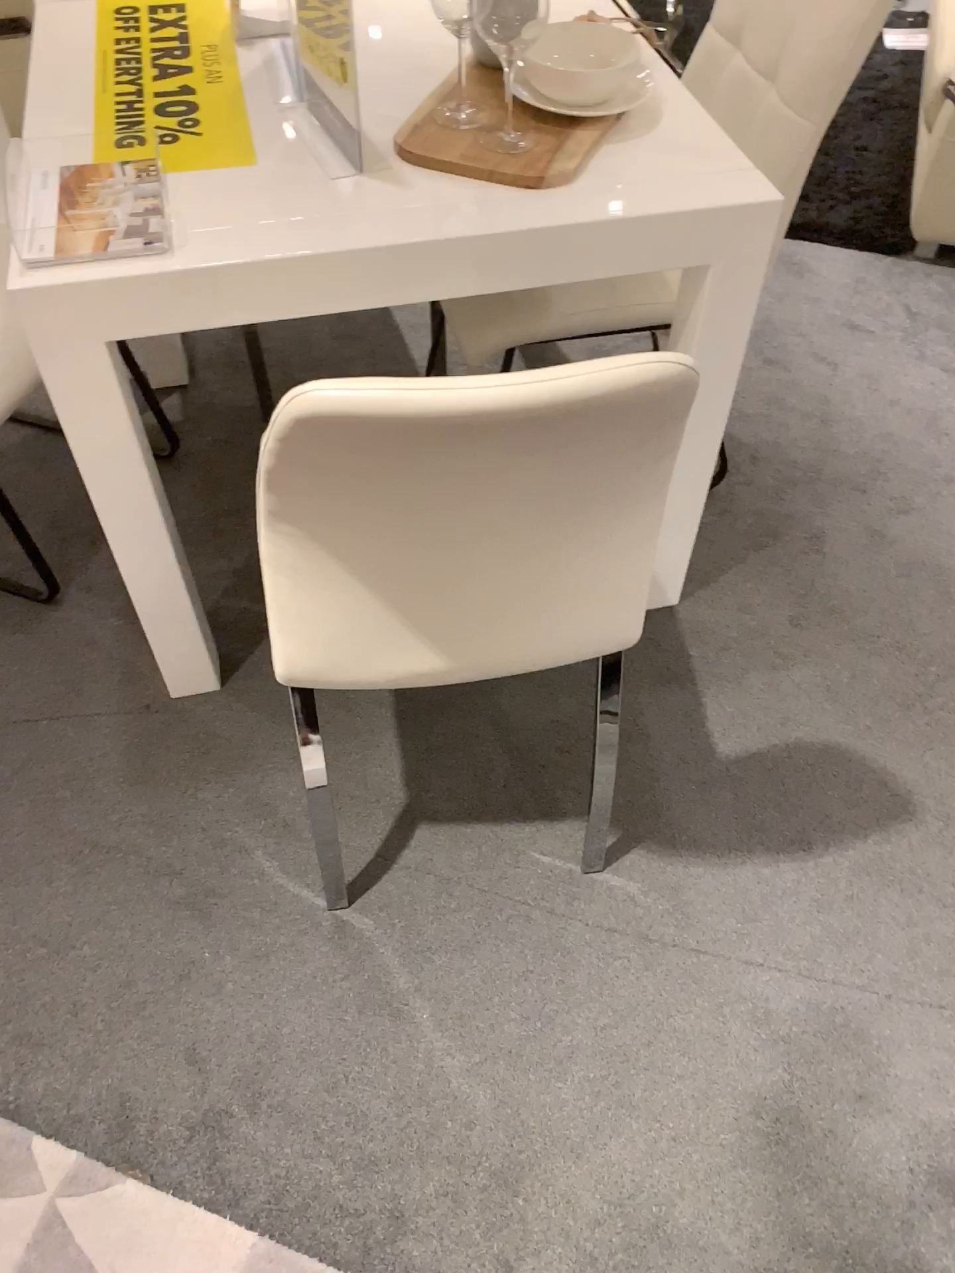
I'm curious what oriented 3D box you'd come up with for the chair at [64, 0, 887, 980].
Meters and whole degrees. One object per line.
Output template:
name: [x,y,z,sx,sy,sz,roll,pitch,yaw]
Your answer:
chair: [-0.043,-0.118,1.134,0.479,0.956,0.649,-6,52,-6]
